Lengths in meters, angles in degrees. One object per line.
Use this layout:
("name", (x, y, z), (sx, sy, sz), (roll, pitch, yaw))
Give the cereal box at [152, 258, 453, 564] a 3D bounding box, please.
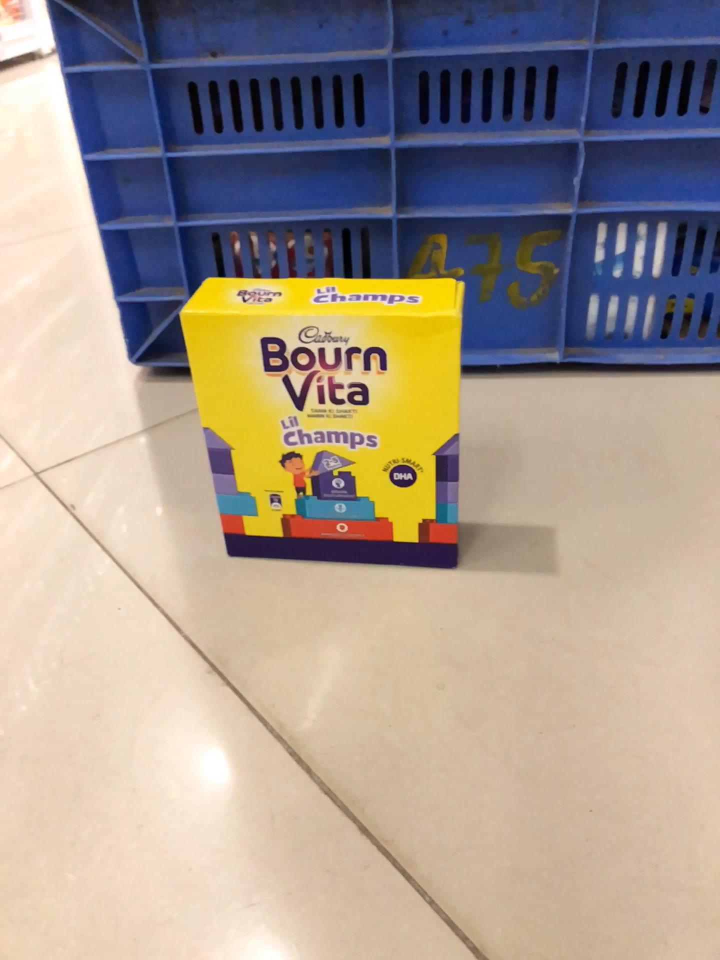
("cereal box", (-0.024, -0.037, 0.463), (0.150, 0.169, 0.050), (3, 34, 10))
